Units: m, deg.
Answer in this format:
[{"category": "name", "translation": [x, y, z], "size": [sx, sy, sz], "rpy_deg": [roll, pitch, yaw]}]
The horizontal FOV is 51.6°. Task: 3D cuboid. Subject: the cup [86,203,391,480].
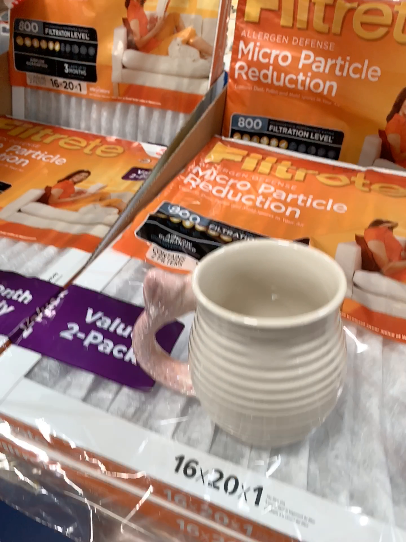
[{"category": "cup", "translation": [0.026, 0.030, 0.254], "size": [0.141, 0.090, 0.100], "rpy_deg": [12, 36, 20]}]
